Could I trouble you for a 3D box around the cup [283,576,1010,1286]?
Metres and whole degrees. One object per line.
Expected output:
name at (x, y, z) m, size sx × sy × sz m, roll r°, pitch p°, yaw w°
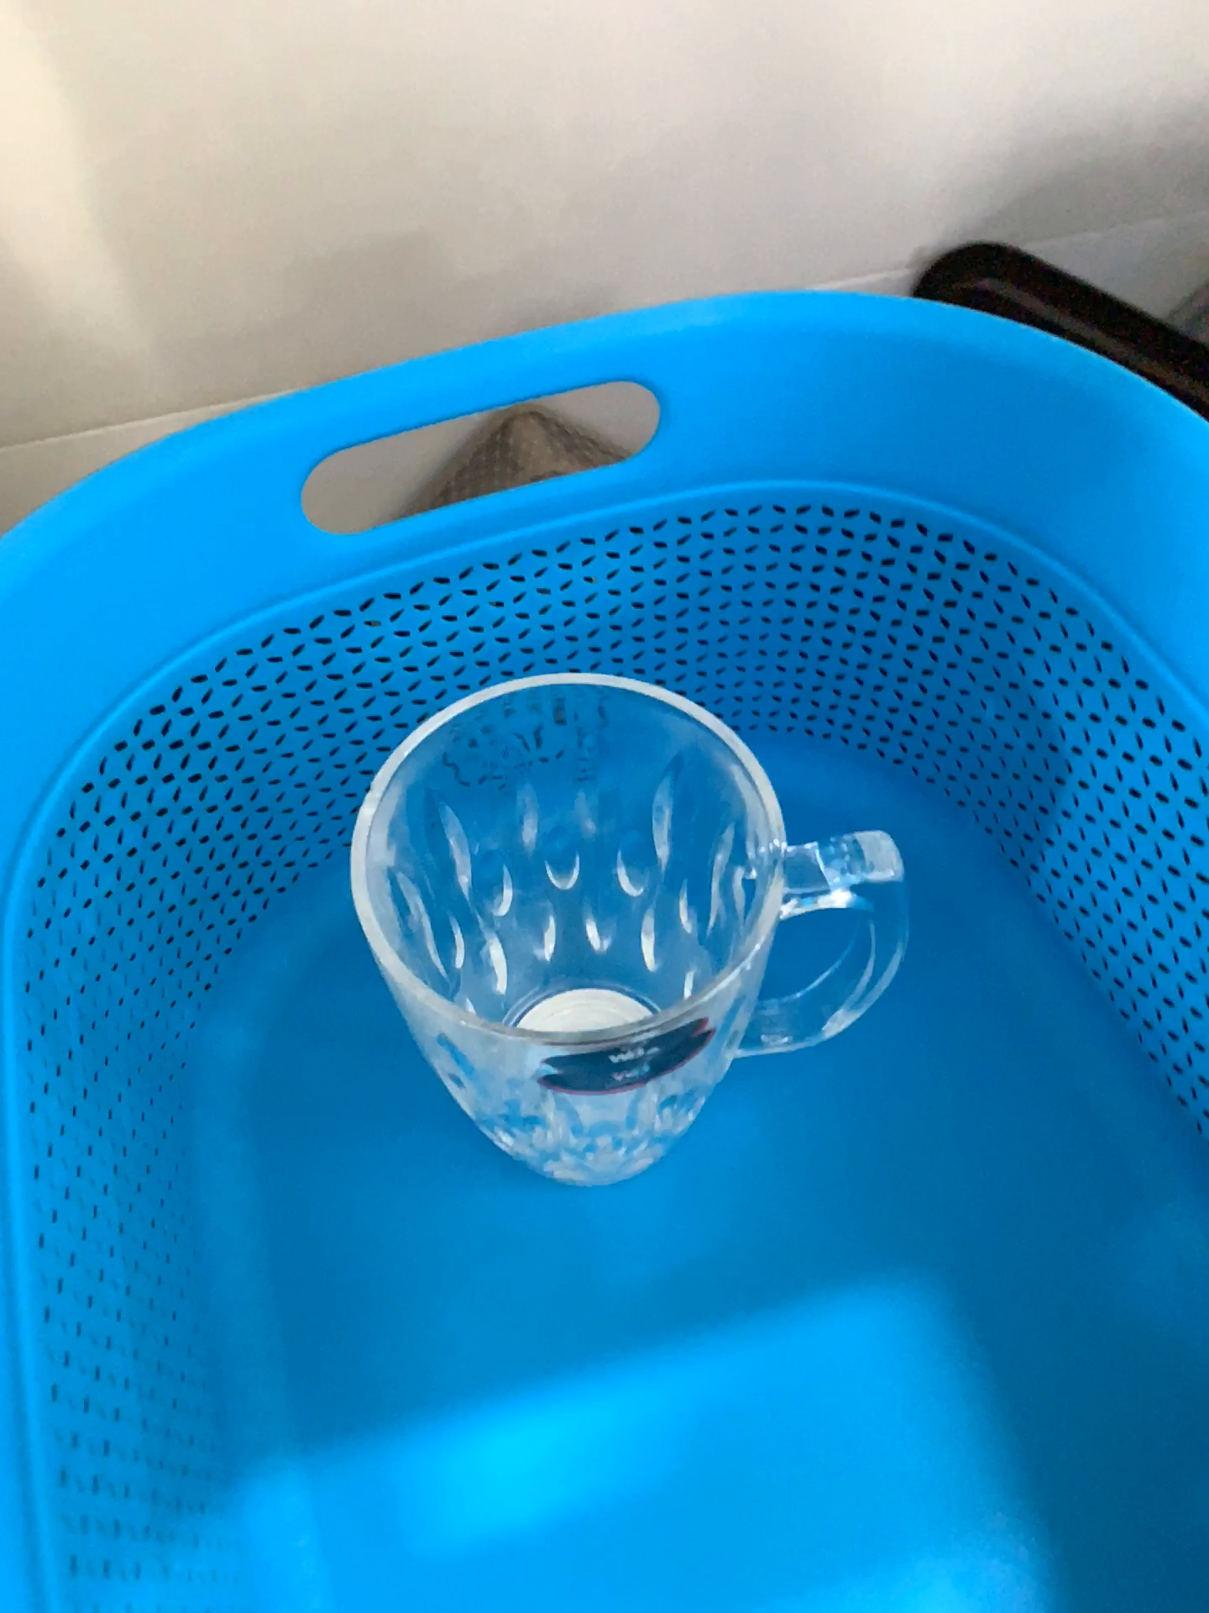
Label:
cup at (0.006, 0.032, 0.272) m, size 0.109 × 0.117 × 0.078 m, roll -18°, pitch 57°, yaw -10°
